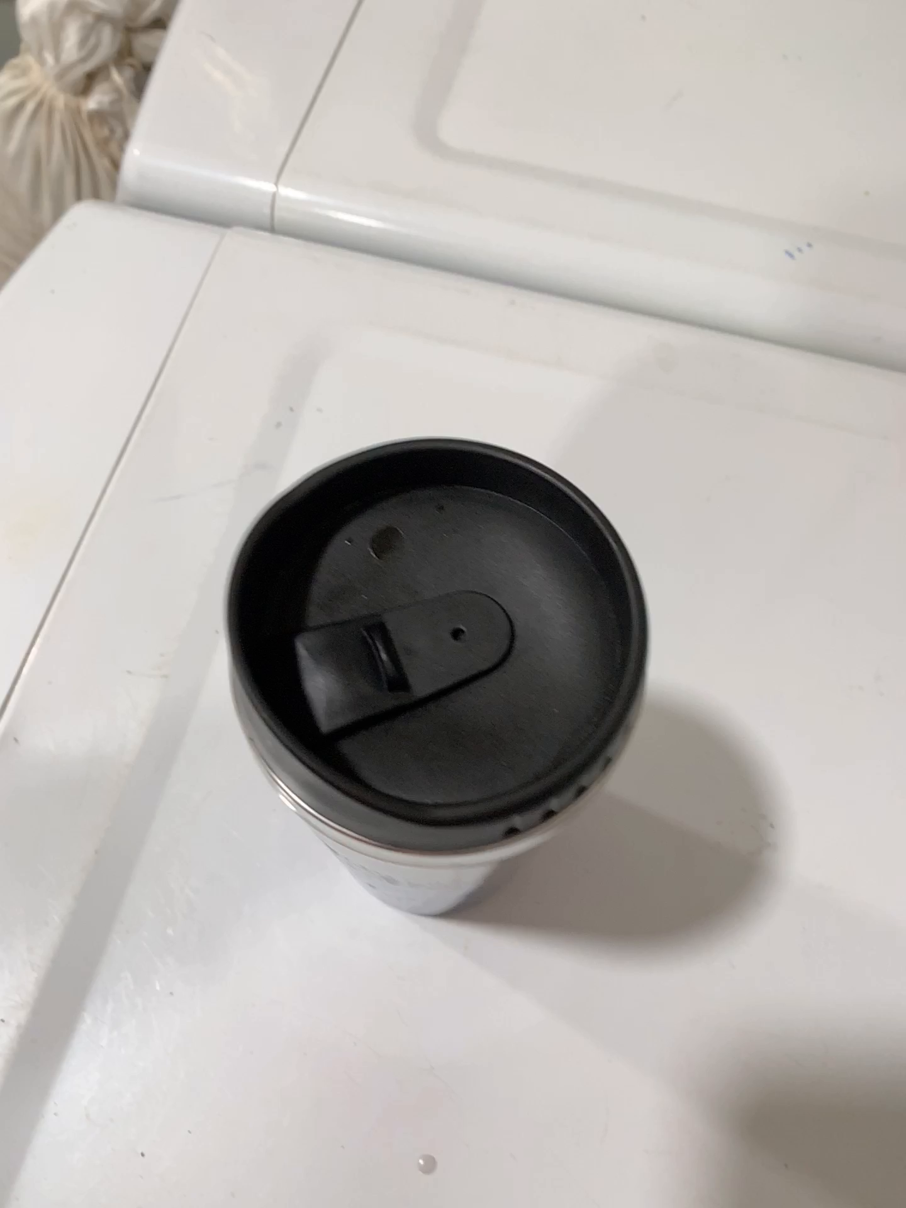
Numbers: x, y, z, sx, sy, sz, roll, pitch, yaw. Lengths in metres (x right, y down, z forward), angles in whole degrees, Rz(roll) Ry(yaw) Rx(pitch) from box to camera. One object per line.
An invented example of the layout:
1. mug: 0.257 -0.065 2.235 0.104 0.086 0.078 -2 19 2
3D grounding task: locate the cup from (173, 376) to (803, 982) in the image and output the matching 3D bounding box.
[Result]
1. cup: -0.002 0.036 0.238 0.089 0.171 0.080 -12 66 -9
